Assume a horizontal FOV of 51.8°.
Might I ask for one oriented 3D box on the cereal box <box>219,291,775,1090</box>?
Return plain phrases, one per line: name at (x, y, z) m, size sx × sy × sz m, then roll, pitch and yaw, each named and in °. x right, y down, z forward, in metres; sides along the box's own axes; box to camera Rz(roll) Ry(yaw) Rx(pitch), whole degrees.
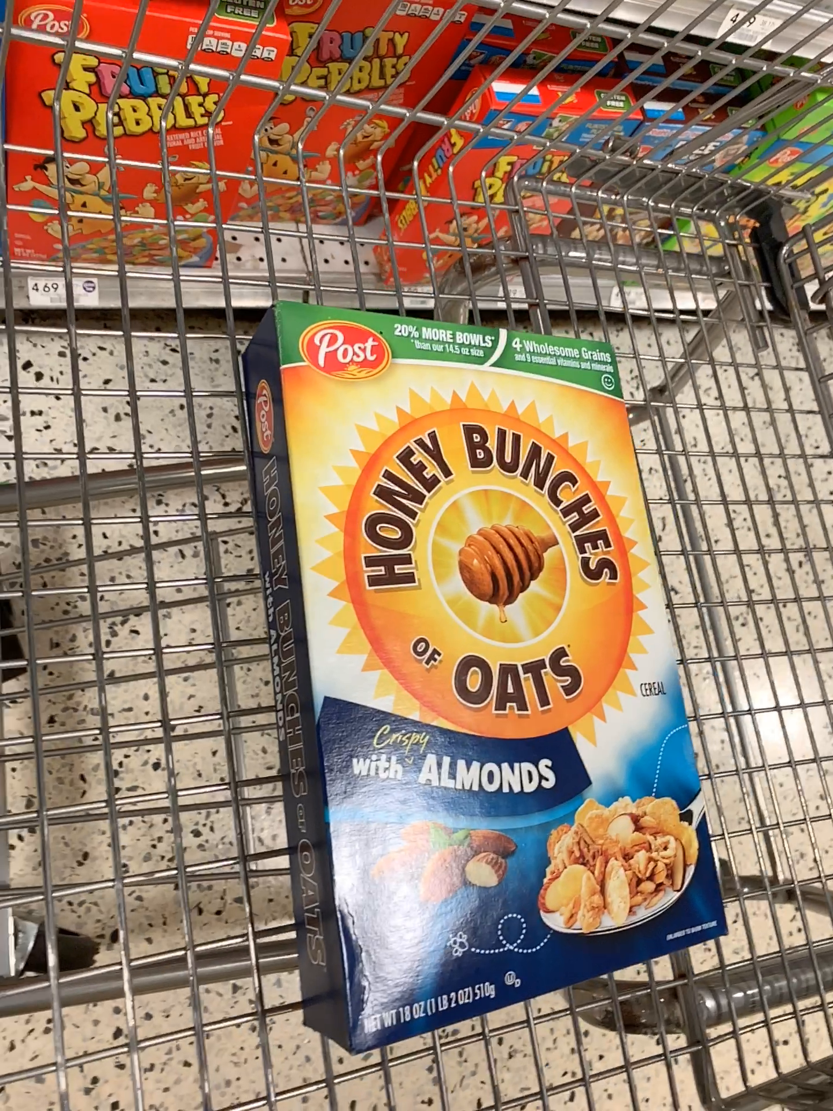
cereal box at (0.033, 0.040, 0.397) m, size 0.211 × 0.060 × 0.301 m, roll -1°, pitch 74°, yaw -28°
